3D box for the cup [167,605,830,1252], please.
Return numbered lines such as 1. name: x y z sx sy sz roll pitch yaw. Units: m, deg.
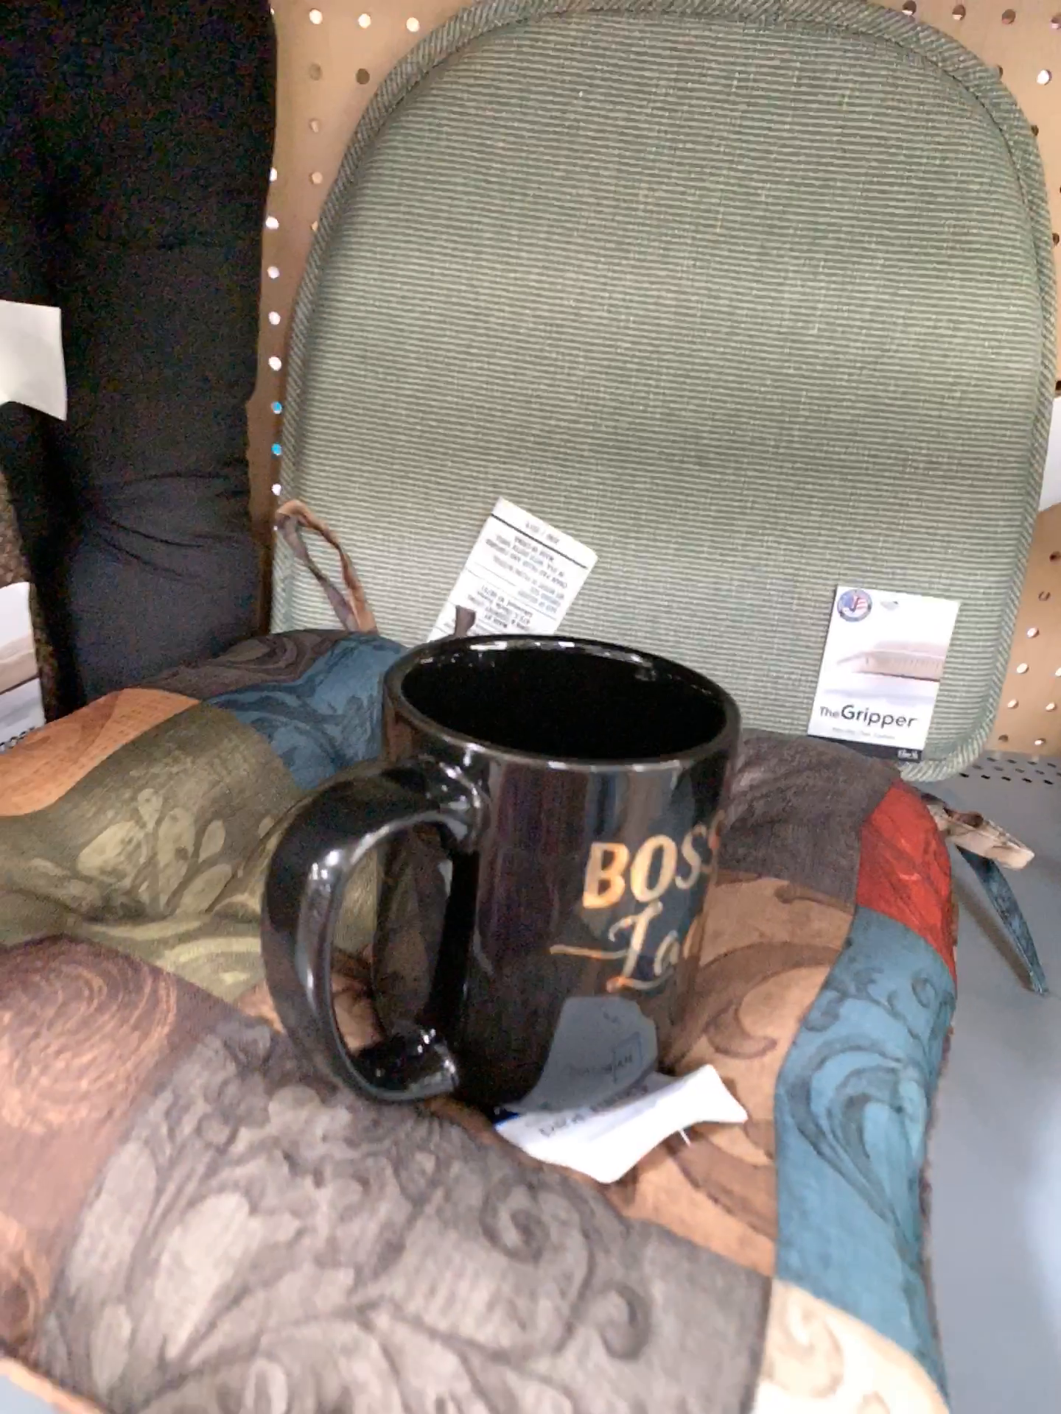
1. cup: -0.006 0.039 0.287 0.100 0.100 0.130 22 21 33
